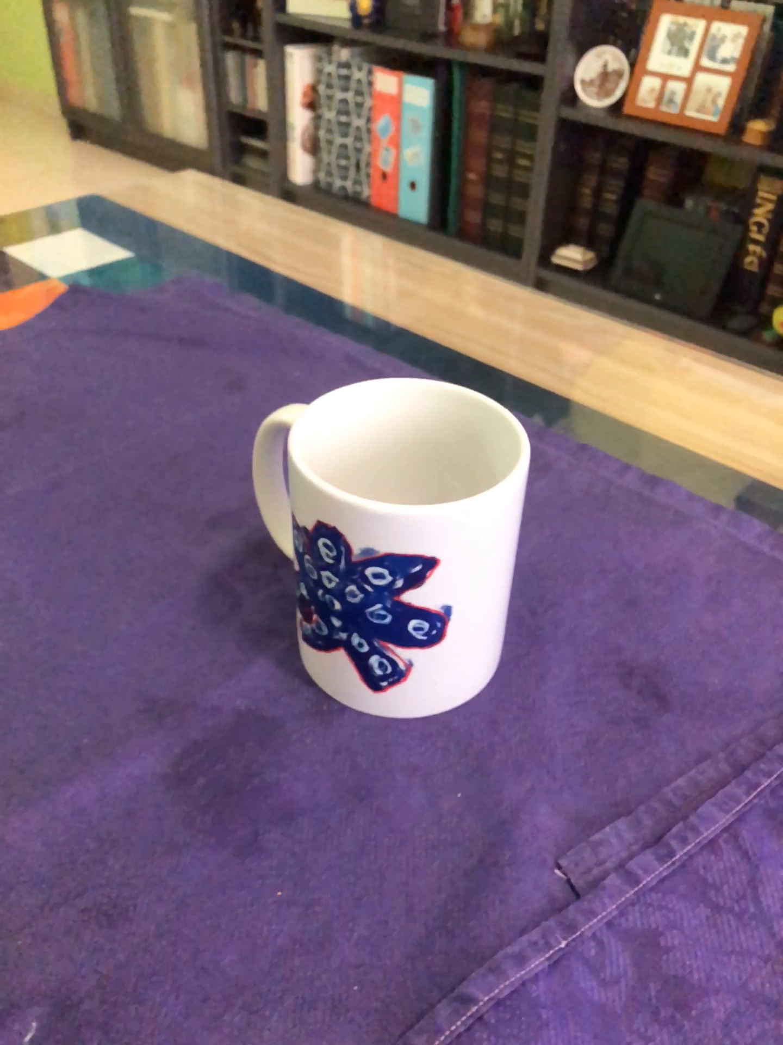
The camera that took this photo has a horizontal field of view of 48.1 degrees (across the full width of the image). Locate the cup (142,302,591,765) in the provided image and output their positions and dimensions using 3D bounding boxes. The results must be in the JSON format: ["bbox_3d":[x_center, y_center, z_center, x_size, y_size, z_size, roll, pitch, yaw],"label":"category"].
[{"bbox_3d":[-0.013,-0.005,0.312,0.080,0.090,0.130,-28,46,-33],"label":"cup"}]
